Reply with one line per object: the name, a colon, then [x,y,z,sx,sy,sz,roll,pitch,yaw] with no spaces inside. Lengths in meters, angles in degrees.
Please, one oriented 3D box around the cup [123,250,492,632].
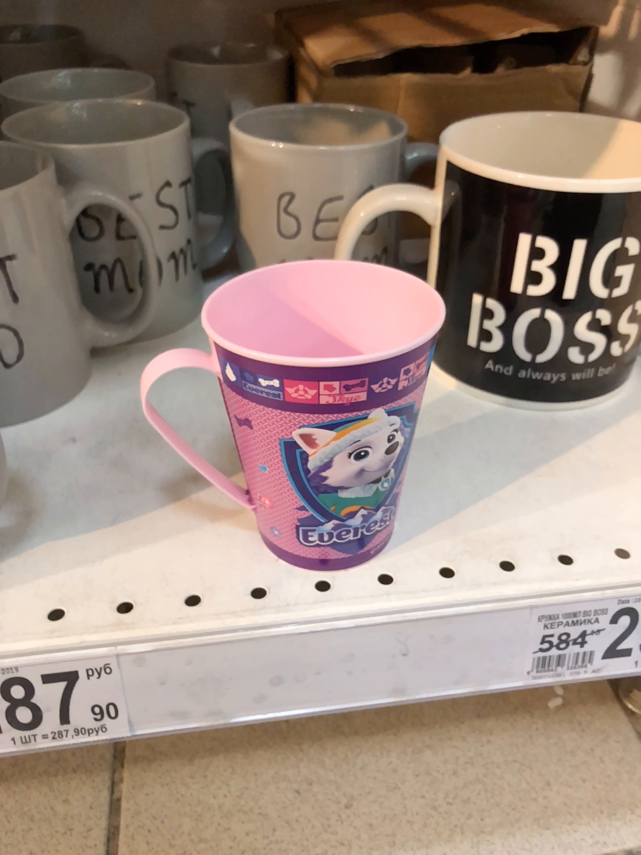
cup: [-0.010,0.002,0.274,0.108,0.104,0.078,-9,37,-14]
